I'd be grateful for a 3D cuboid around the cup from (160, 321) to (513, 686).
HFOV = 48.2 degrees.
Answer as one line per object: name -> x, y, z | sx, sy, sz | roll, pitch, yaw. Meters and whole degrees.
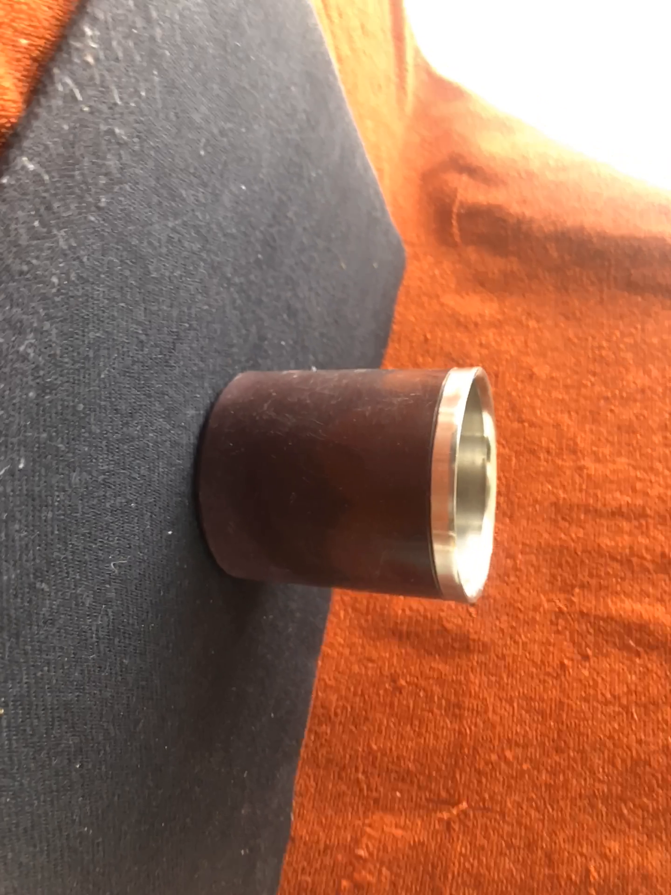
cup -> 0.012, 0.024, 0.286 | 0.111, 0.089, 0.090 | 63, 35, -53
